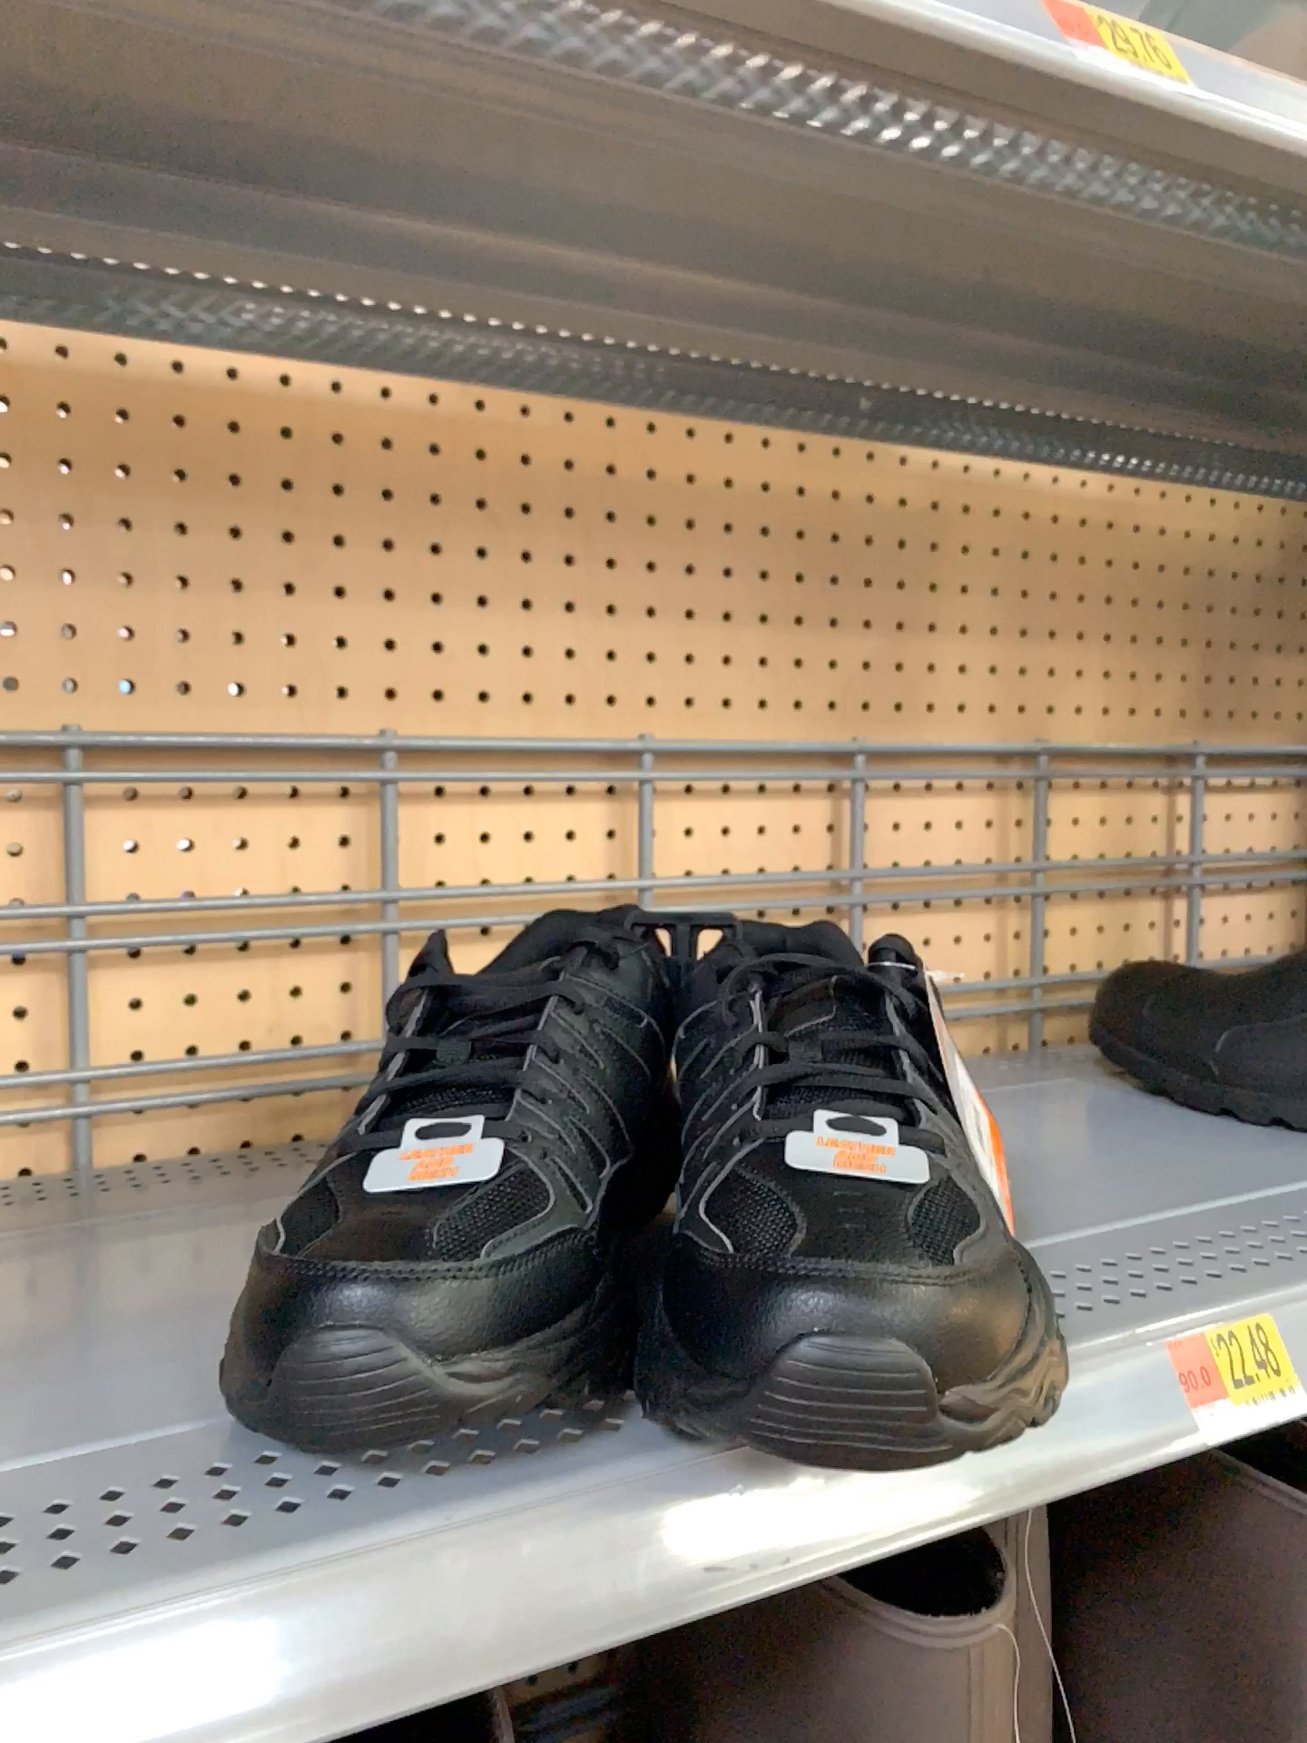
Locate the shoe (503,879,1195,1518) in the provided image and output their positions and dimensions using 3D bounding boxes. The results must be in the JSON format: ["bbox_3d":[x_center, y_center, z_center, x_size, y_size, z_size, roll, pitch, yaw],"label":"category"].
[{"bbox_3d":[0.043,0.066,0.417,0.135,0.104,0.297,0,4,2],"label":"shoe"}]

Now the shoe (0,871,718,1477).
[{"bbox_3d":[-0.068,0.063,0.438,0.139,0.104,0.297,1,4,10],"label":"shoe"}]
